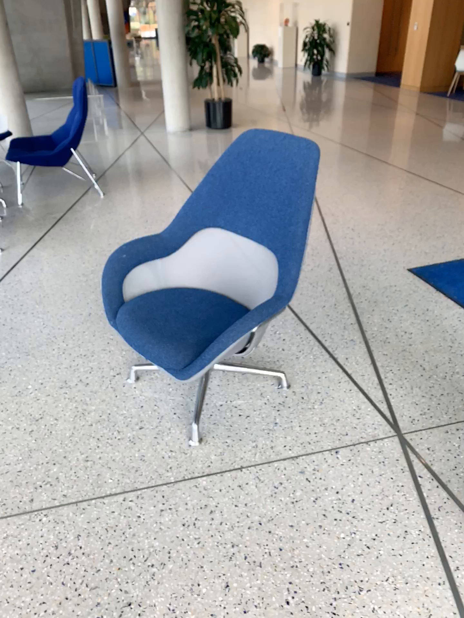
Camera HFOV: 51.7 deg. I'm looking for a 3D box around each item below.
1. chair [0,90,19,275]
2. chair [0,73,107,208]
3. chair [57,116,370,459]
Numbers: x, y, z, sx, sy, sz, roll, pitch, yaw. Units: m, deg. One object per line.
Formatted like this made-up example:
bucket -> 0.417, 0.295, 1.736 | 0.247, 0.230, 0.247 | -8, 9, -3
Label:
chair -> -1.946, -0.857, 3.096 | 0.805, 0.914, 0.780 | -10, 31, -14
chair -> -1.580, -1.503, 4.187 | 0.774, 0.914, 0.901 | -9, 31, -13
chair -> -0.063, -0.166, 1.856 | 0.787, 0.933, 0.728 | -23, 36, -33
